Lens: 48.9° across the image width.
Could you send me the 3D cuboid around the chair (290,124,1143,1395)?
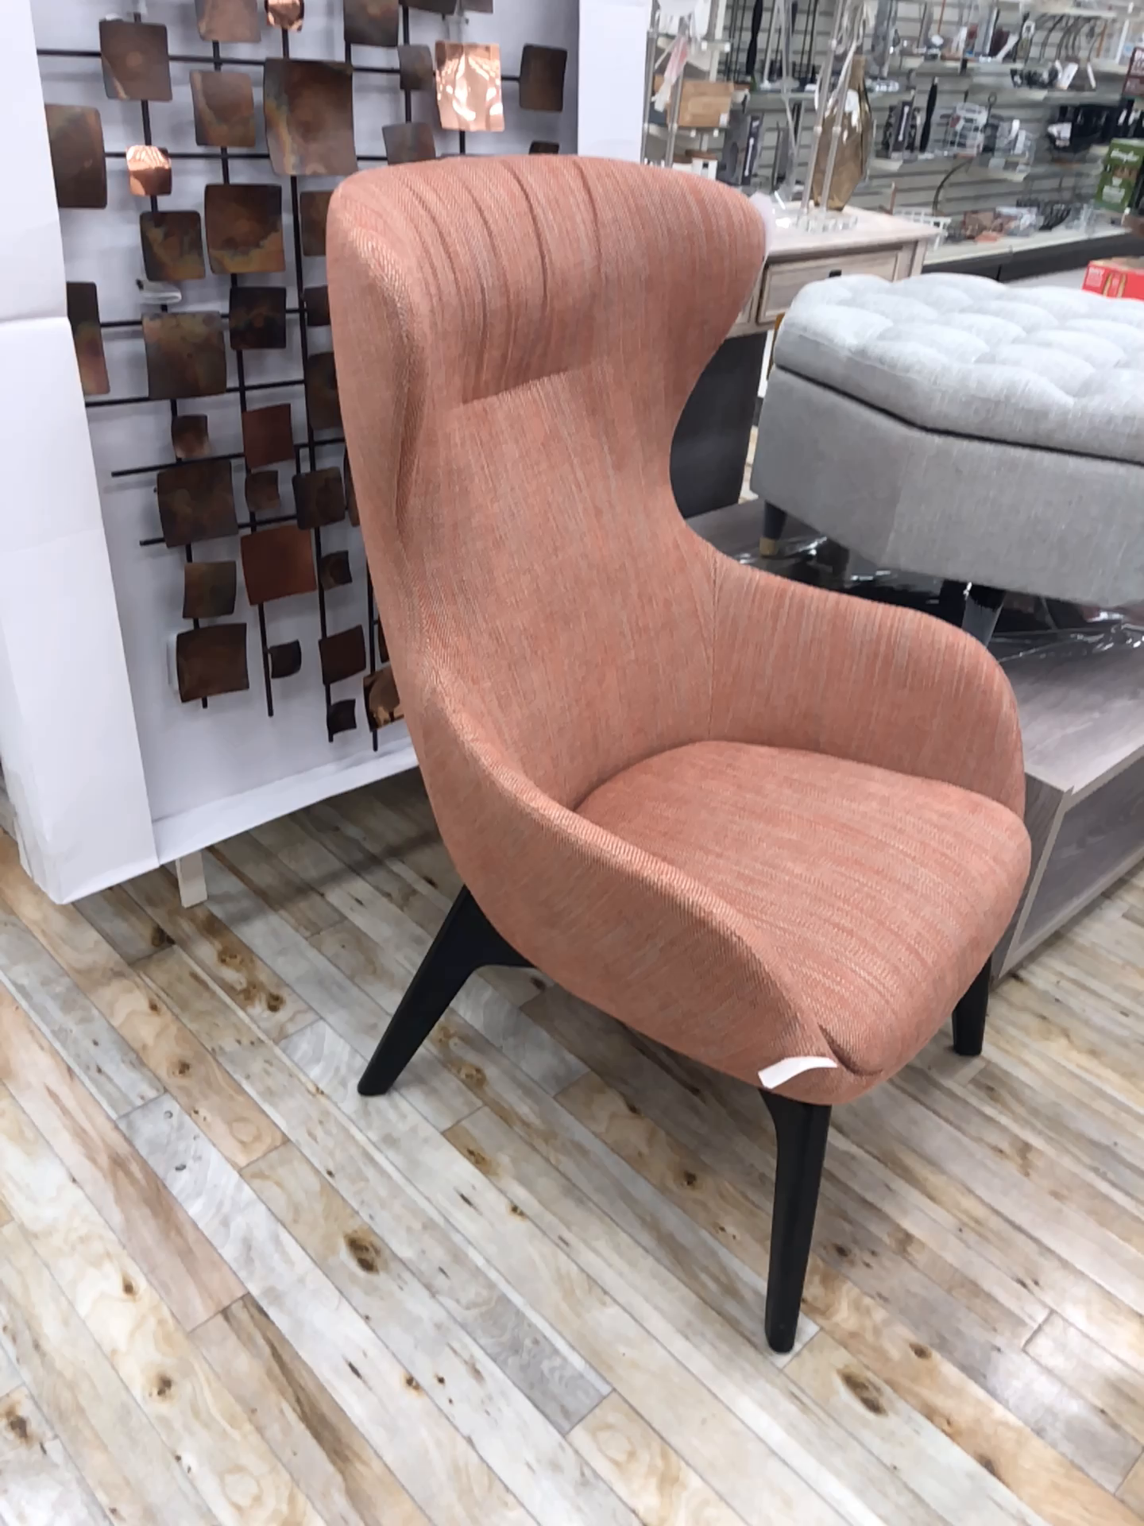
[{"bbox_3d":[0.219,-0.075,1.432,0.751,1.065,0.692,24,36,27],"label":"chair"}]
